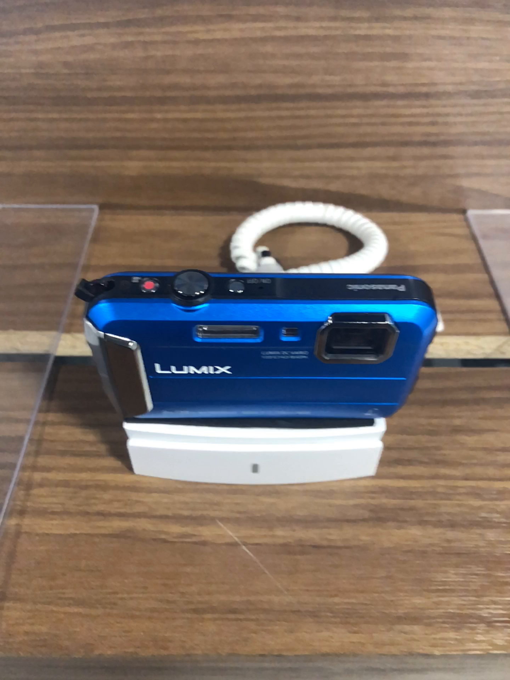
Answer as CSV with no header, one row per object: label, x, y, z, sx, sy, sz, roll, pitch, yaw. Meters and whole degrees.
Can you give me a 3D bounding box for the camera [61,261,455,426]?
camera,0.001,0.003,0.173,0.100,0.051,0.023,0,52,-1
